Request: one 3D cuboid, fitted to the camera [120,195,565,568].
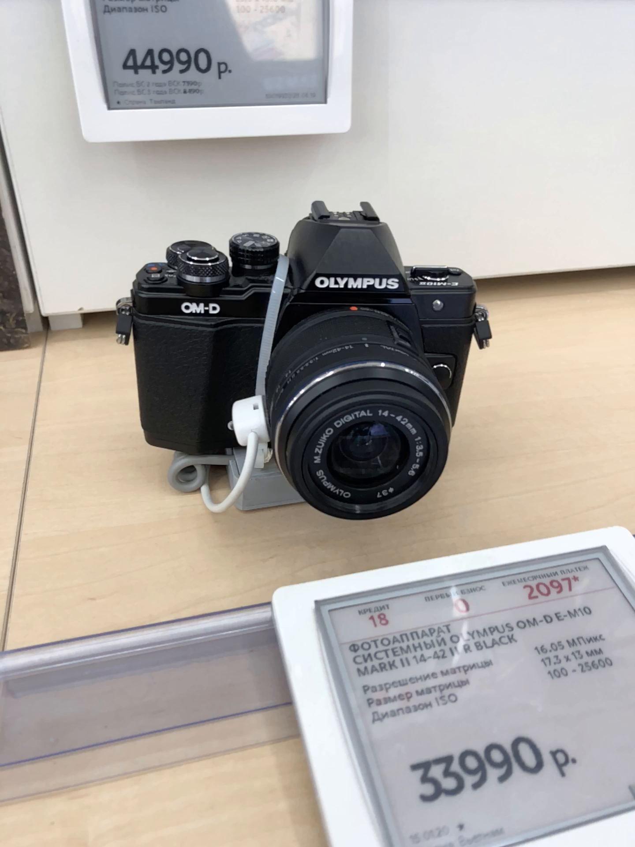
[{"bbox_3d":[0.001,-0.021,0.237,0.112,0.079,0.101,-4,33,-7],"label":"camera"}]
